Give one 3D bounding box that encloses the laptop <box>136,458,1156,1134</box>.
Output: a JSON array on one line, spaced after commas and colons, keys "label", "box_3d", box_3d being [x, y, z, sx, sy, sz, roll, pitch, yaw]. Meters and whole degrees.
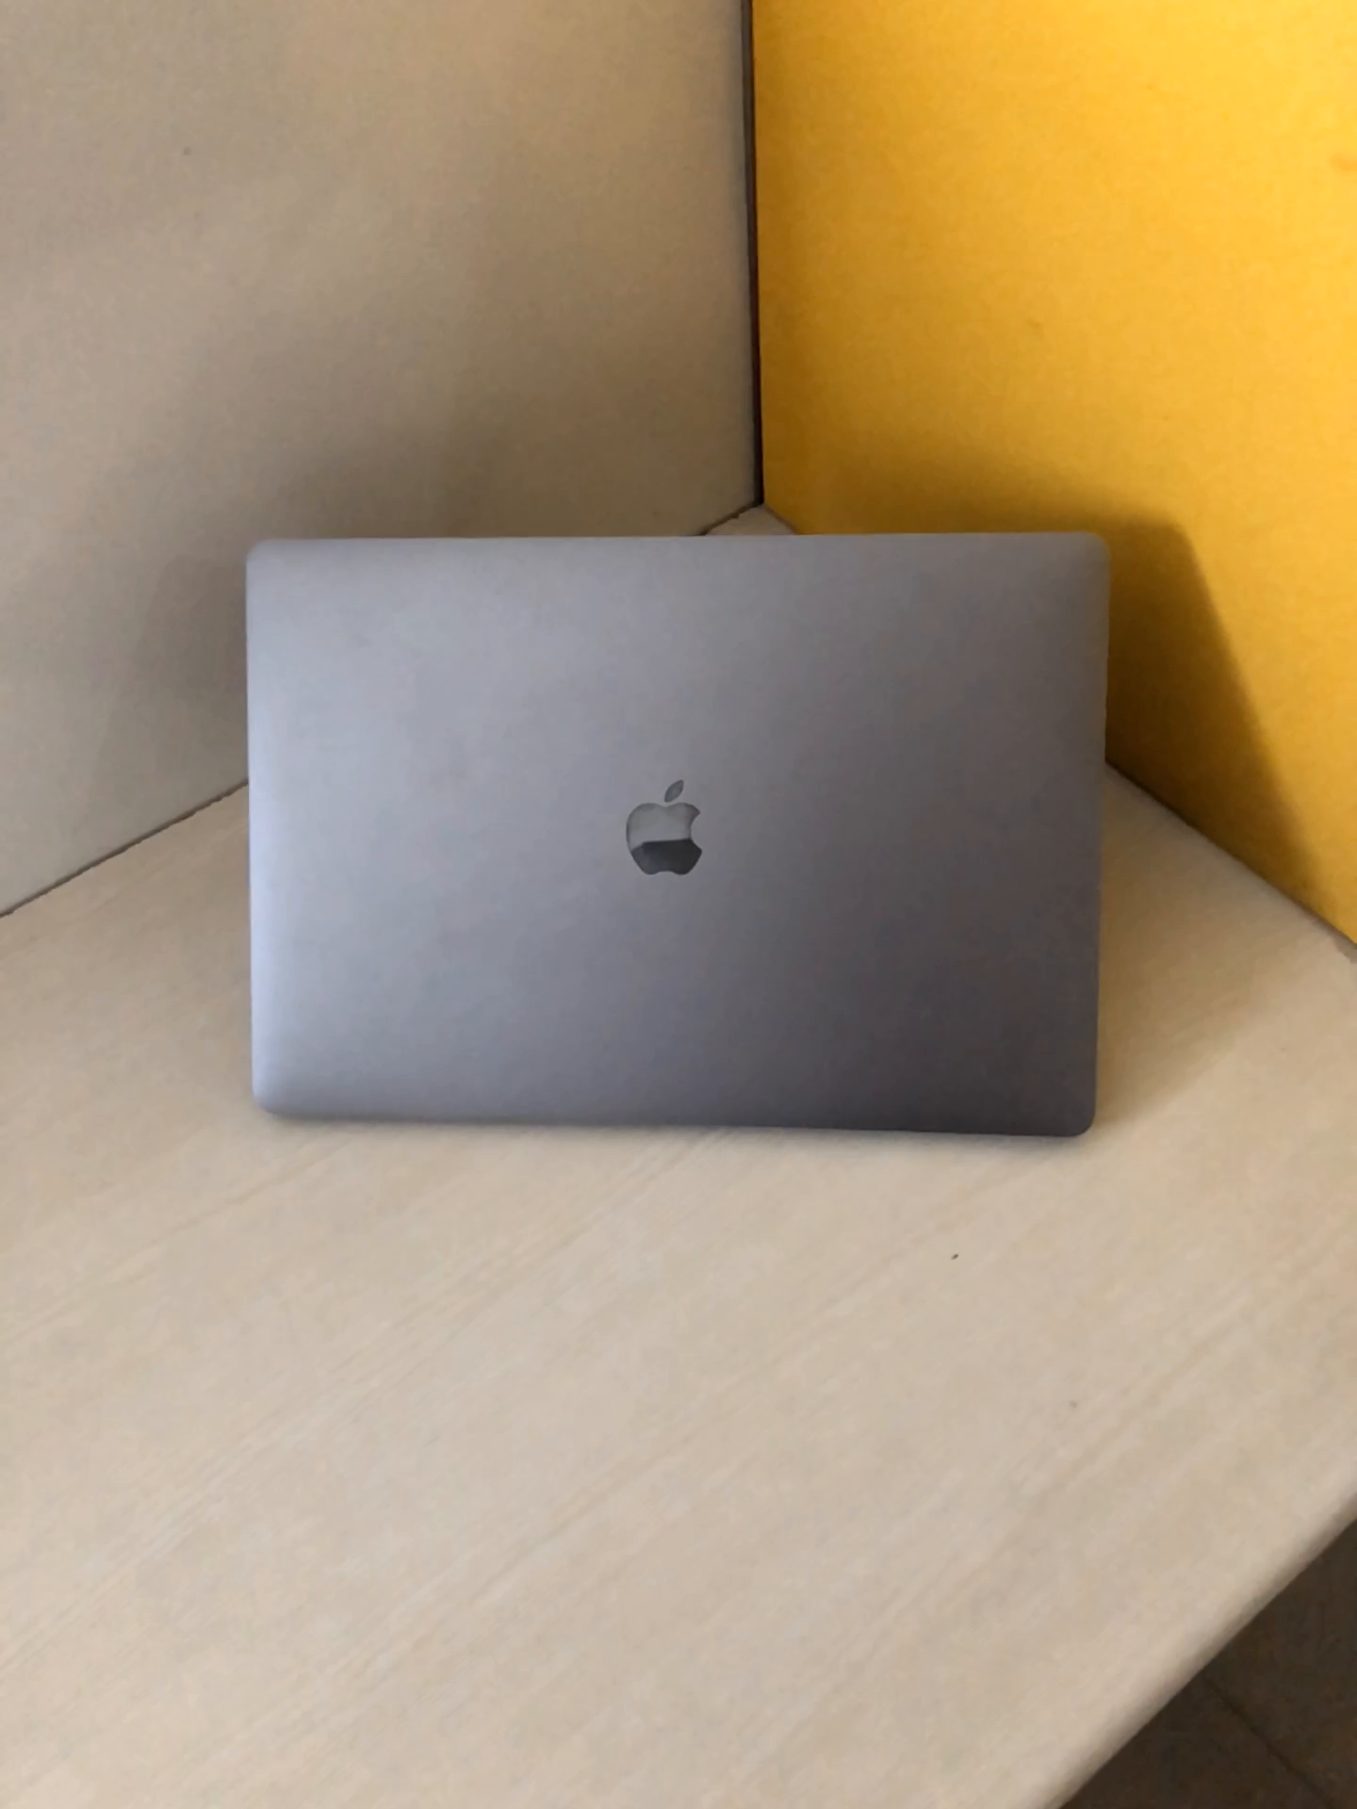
[{"label": "laptop", "box_3d": [-0.003, -0.049, 0.631, 0.344, 0.152, 0.237, 1, 54, 4]}]
